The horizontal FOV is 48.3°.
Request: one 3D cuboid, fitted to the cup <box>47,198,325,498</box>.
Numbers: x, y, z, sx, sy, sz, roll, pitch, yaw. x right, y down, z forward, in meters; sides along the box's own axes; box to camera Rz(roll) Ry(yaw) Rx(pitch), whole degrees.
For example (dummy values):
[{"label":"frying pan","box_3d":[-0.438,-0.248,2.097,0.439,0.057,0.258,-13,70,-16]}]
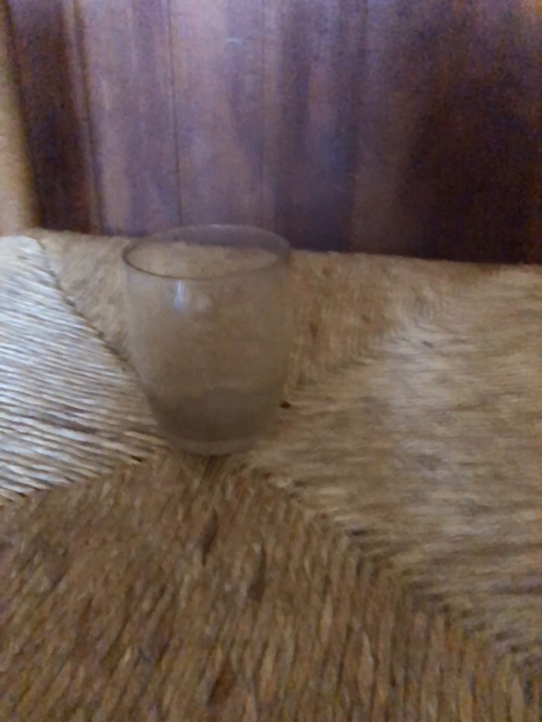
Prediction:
[{"label":"cup","box_3d":[-0.030,-0.011,0.236,0.070,0.079,0.070,1,29,0]}]
